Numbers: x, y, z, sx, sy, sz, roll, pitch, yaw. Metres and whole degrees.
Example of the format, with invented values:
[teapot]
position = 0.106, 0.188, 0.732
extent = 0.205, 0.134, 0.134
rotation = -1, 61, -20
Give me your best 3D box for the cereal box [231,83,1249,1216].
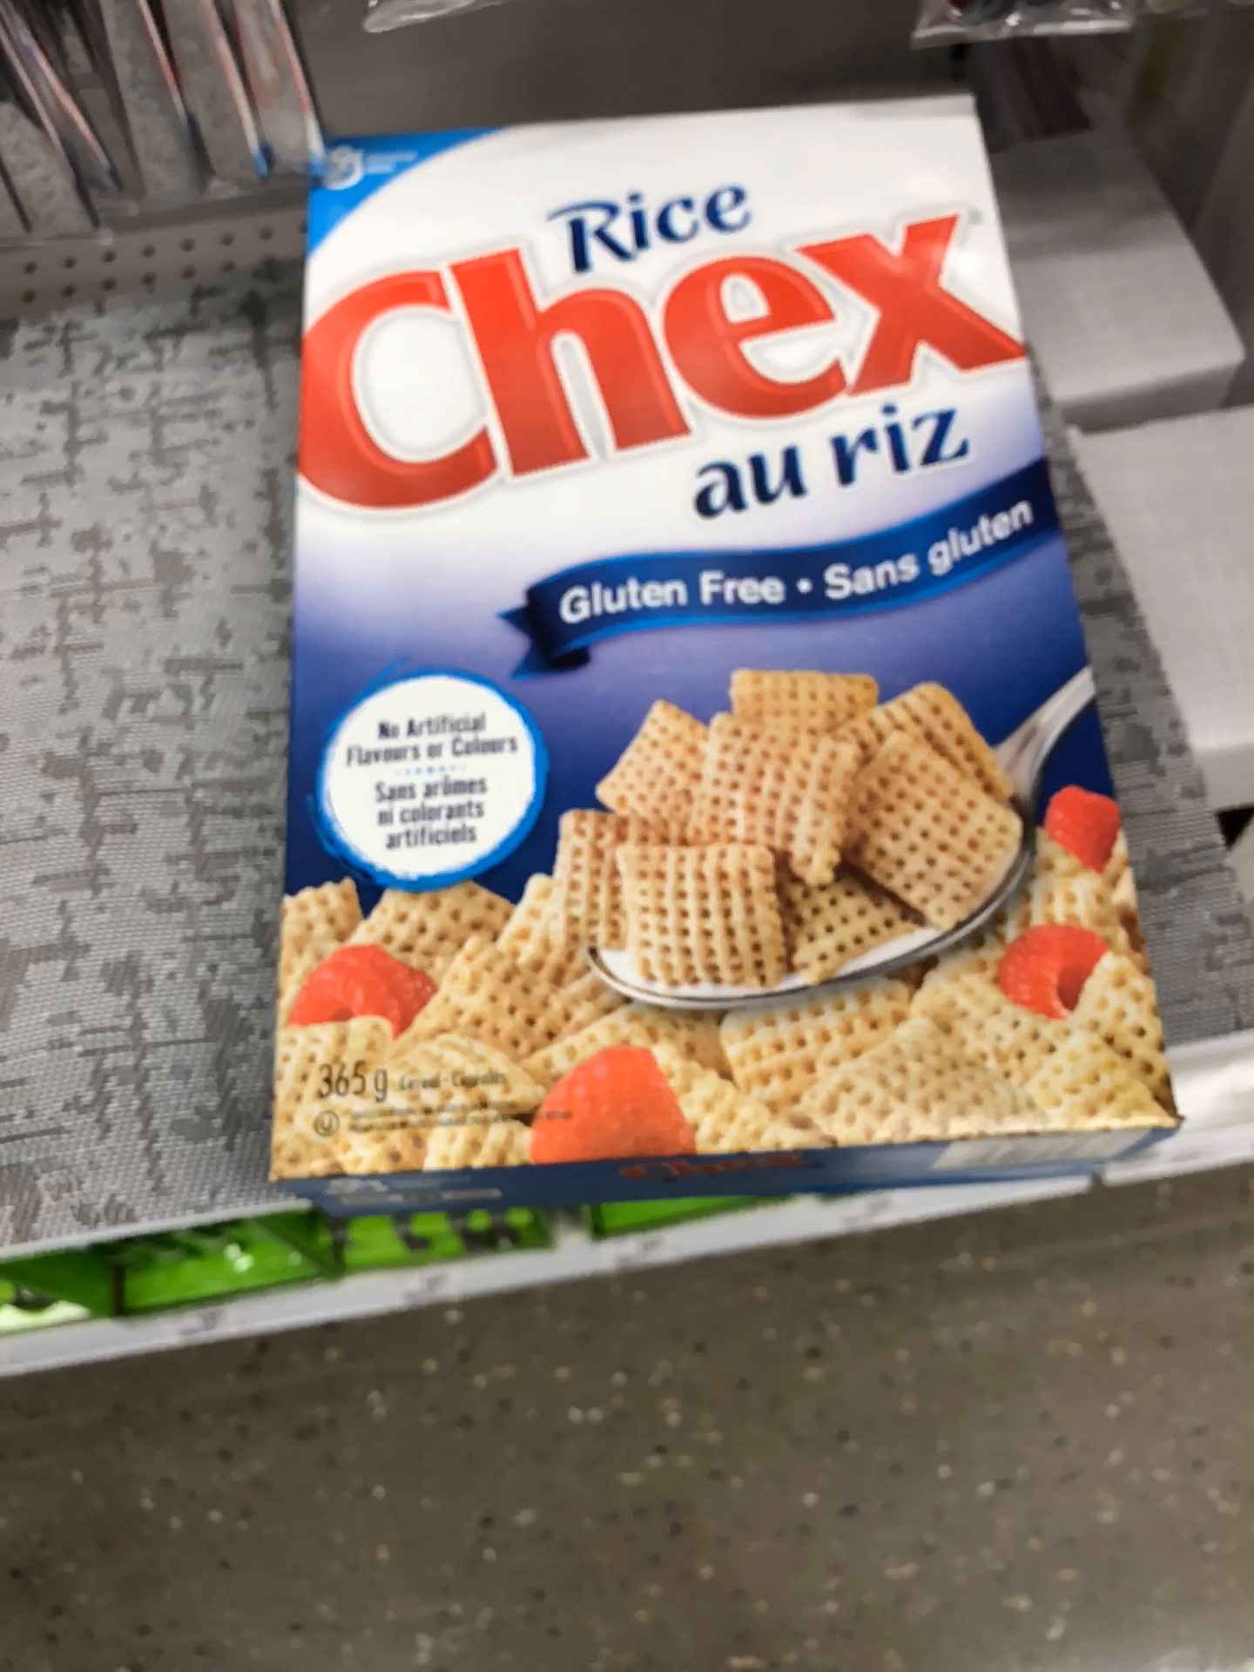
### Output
[cereal box]
position = 0.016, -0.062, 0.382
extent = 0.210, 0.070, 0.300
rotation = -3, 67, -1
